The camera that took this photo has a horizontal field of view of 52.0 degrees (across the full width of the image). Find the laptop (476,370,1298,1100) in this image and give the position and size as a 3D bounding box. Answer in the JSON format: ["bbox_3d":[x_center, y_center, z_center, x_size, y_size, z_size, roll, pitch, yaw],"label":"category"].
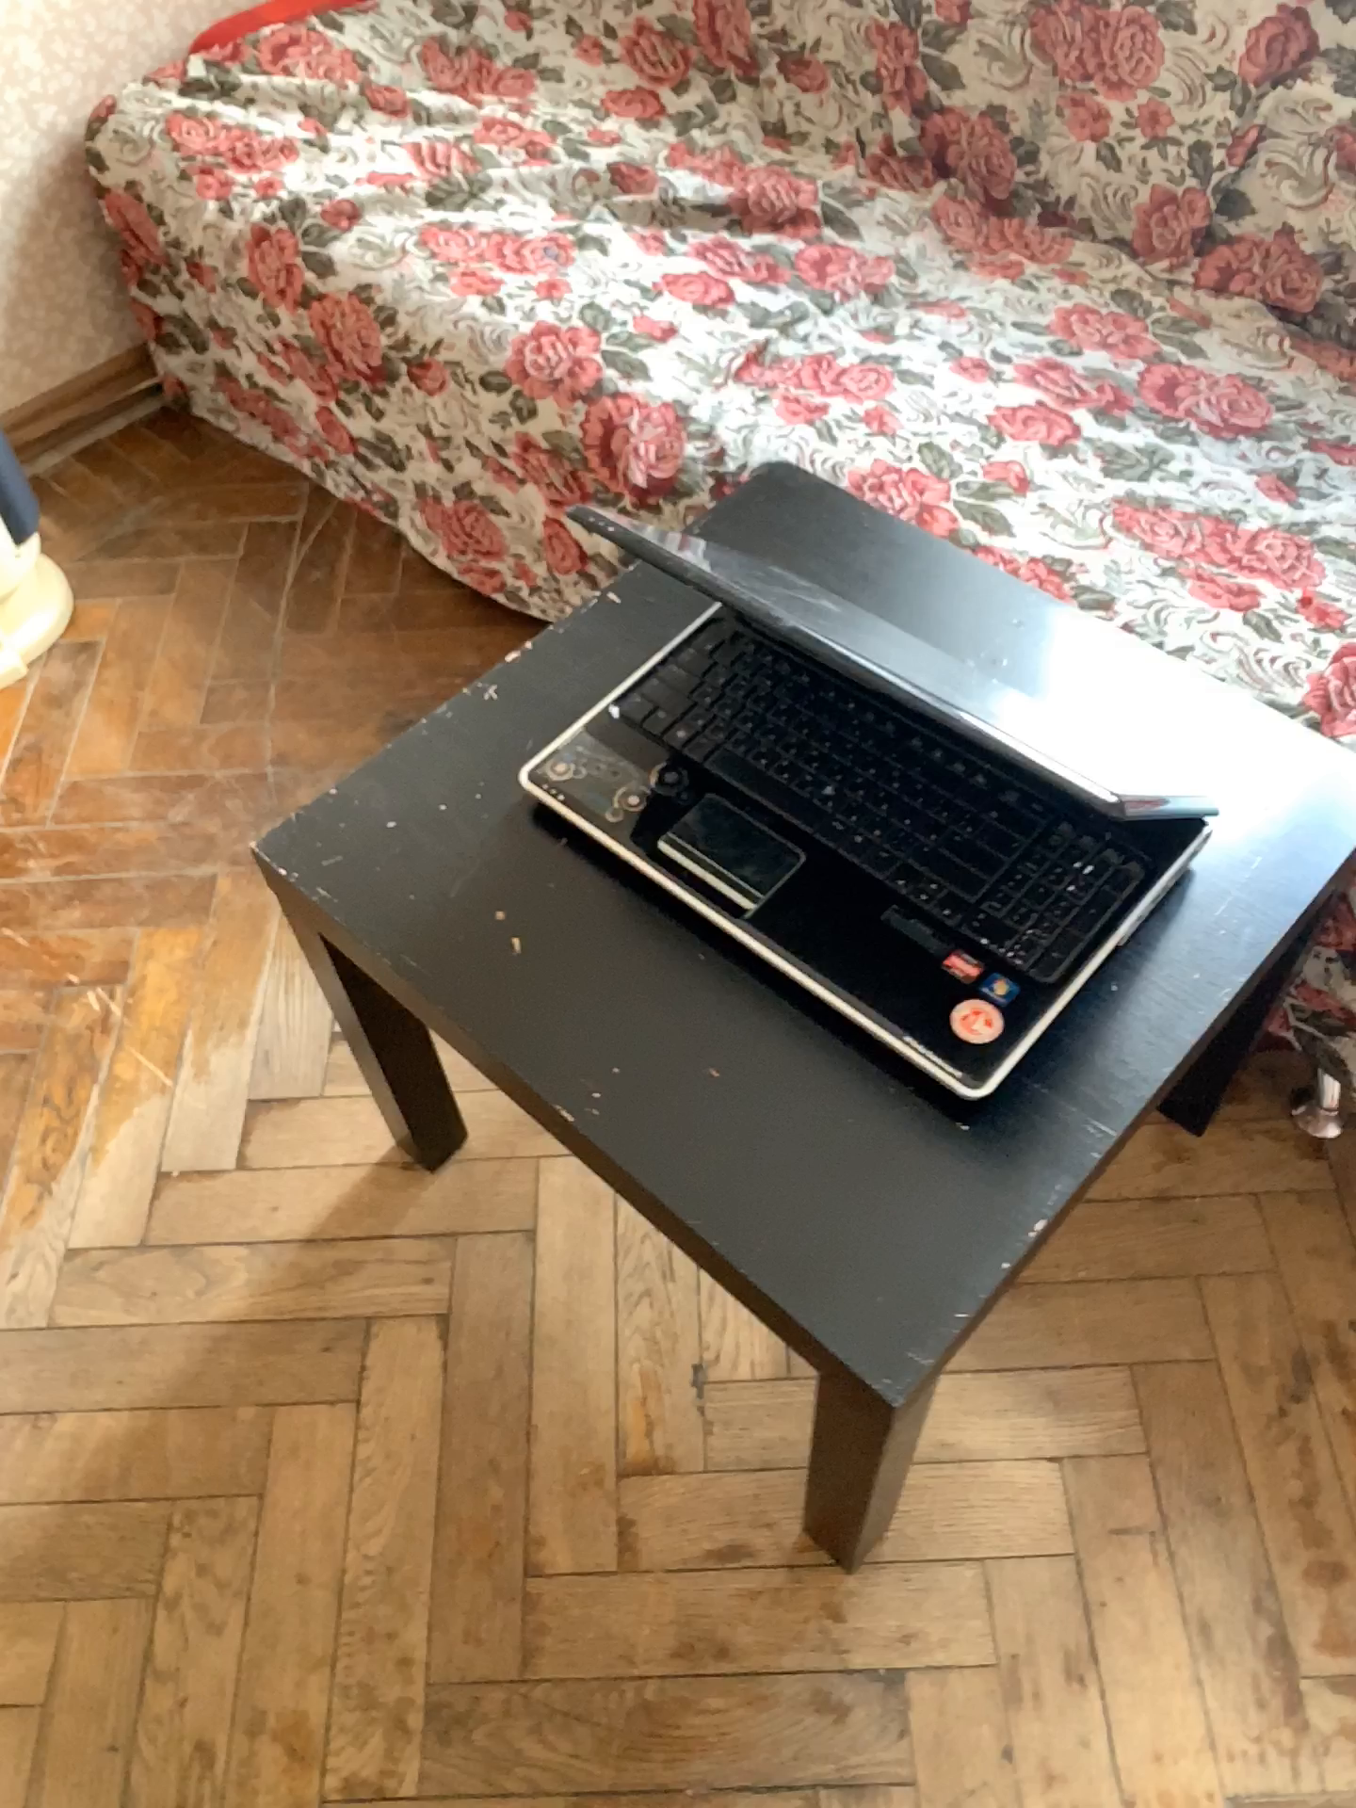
[{"bbox_3d":[0.109,-0.116,0.831,0.366,0.177,0.252,35,64,26],"label":"laptop"}]
